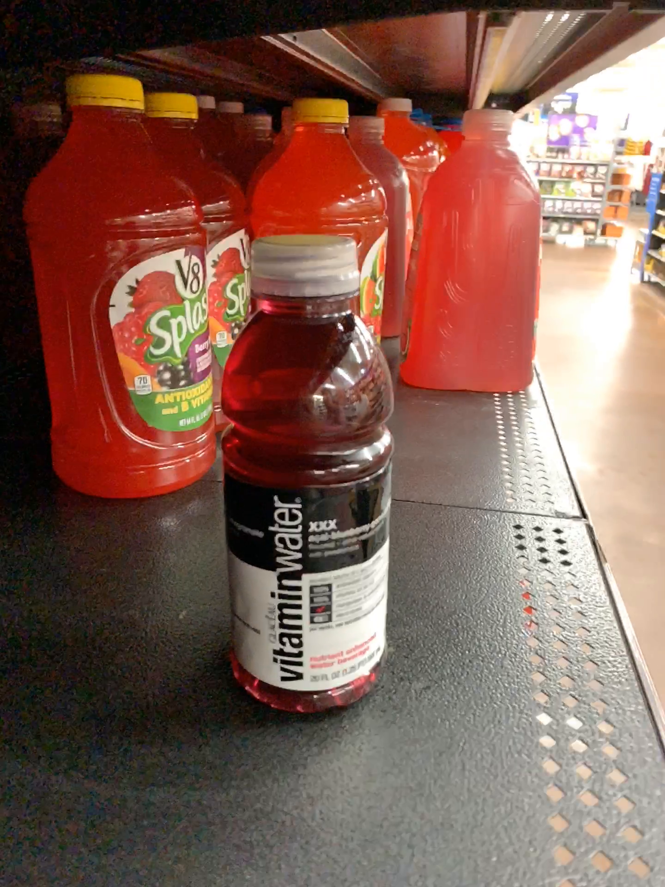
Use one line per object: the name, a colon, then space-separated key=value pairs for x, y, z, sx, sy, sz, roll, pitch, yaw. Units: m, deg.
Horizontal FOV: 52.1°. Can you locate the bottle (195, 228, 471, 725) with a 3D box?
bottle: x=-0.008 y=0.010 z=0.280 sx=0.080 sy=0.179 sz=0.080 roll=2 pitch=23 yaw=-1
